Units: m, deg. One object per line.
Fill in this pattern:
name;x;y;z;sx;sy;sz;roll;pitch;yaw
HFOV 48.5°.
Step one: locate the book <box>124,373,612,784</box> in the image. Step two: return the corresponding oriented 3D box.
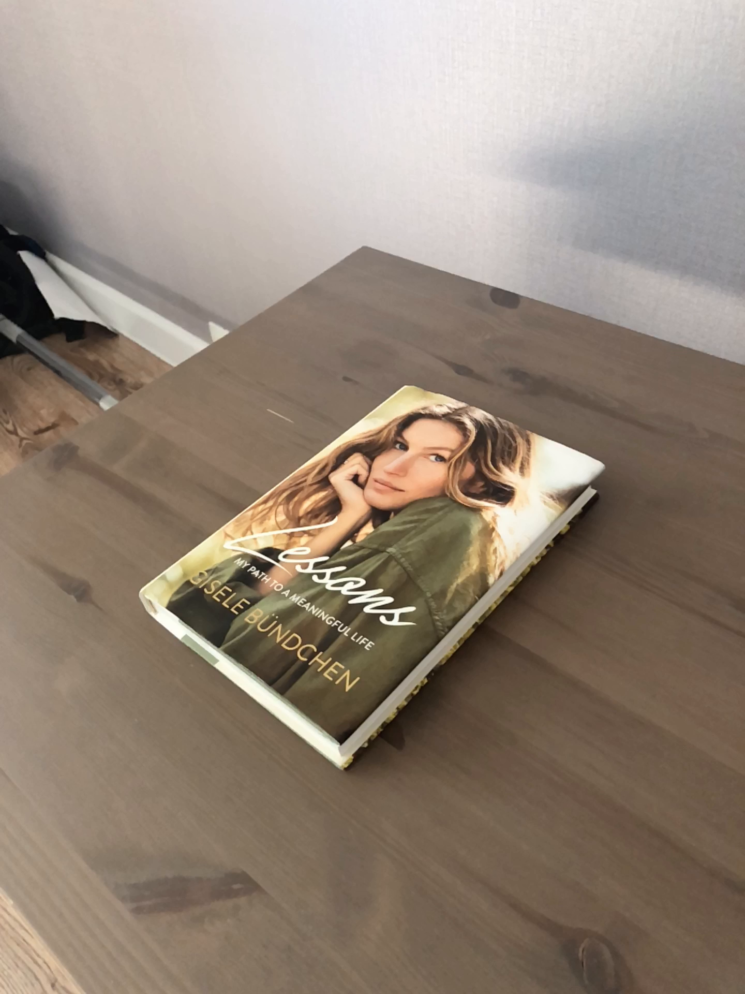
book;0.003;0.024;0.465;0.160;0.030;0.227;28;54;32
